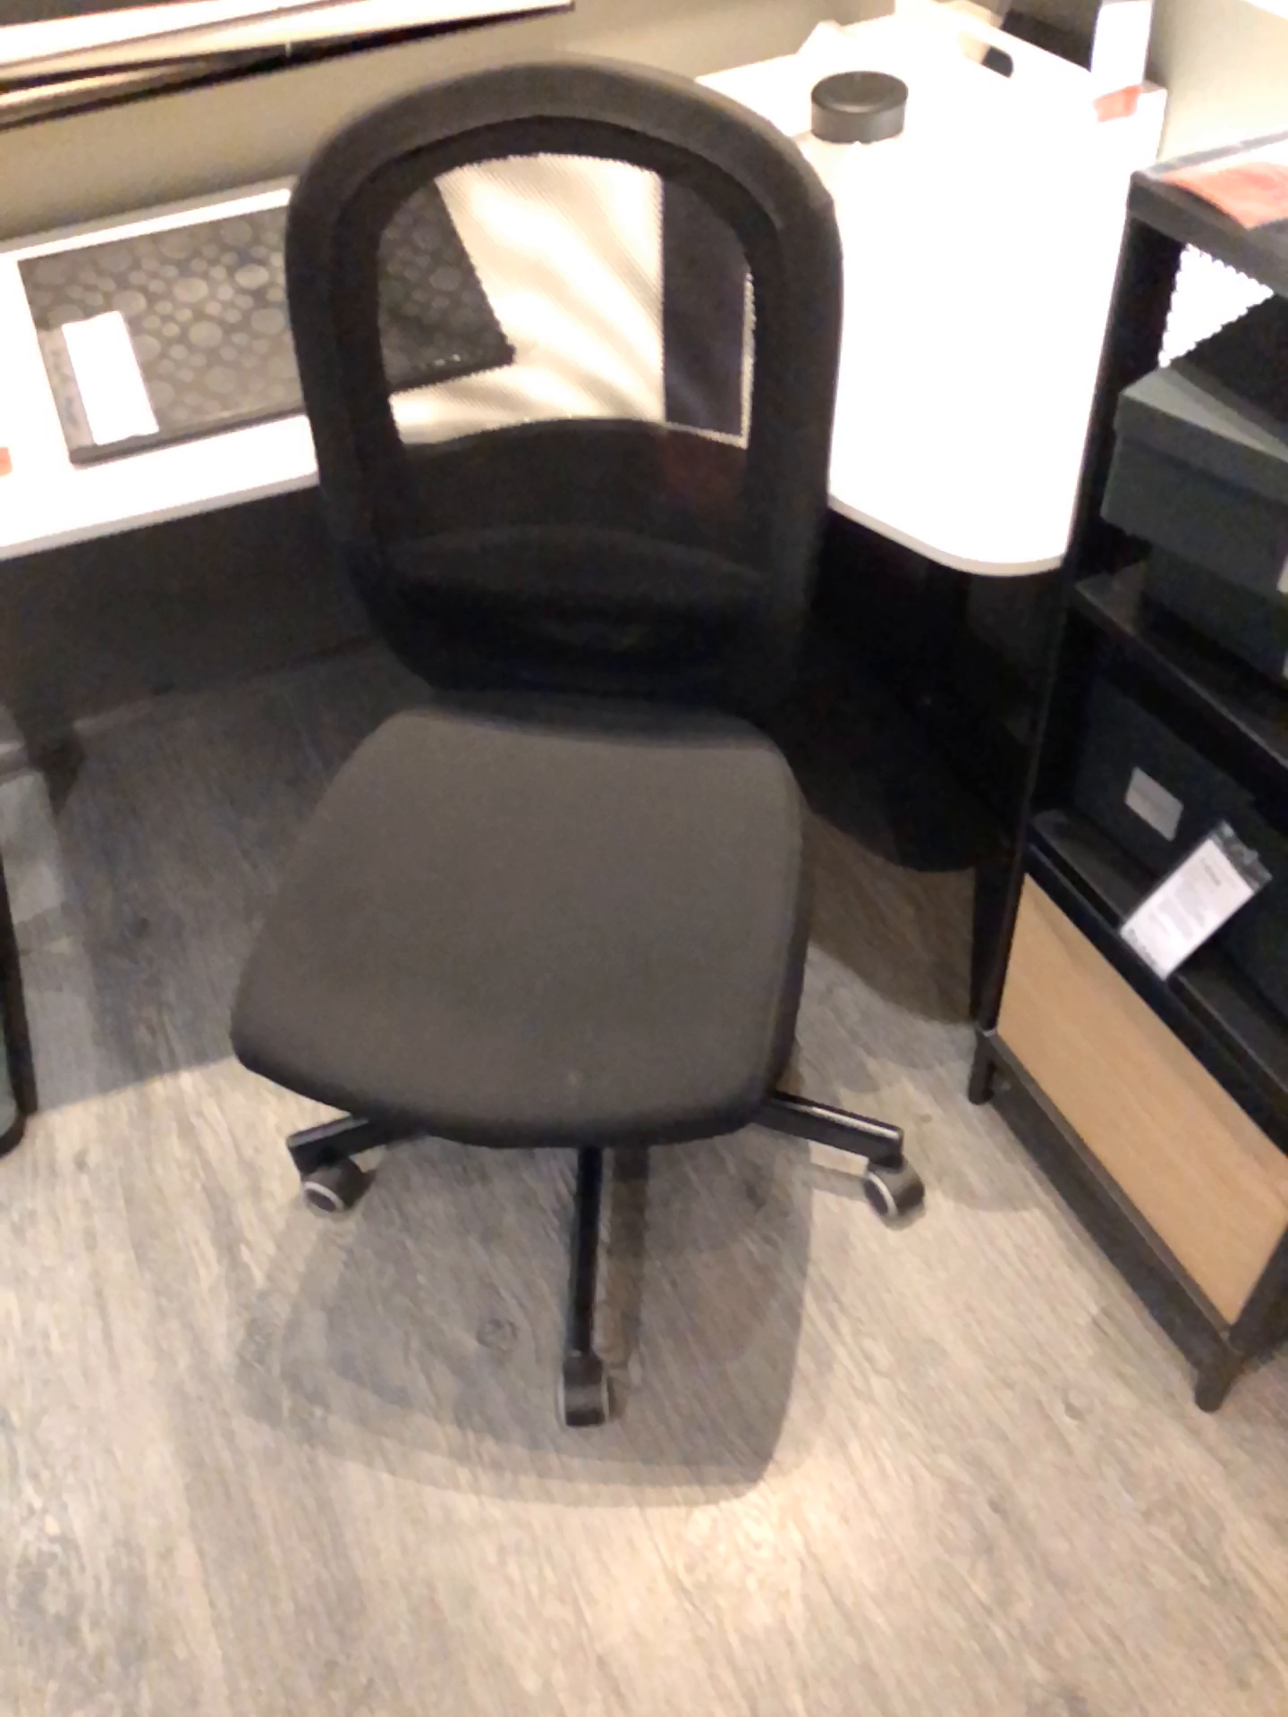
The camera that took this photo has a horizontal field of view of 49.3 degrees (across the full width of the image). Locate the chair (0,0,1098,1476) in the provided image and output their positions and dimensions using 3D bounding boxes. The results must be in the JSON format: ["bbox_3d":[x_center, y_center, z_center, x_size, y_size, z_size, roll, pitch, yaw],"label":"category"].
[{"bbox_3d":[-0.067,-0.069,1.119,0.630,0.884,0.714,4,48,8],"label":"chair"}]
